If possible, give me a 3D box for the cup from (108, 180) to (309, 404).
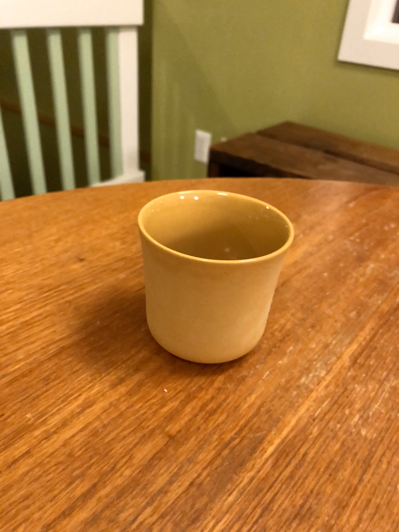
[{"bbox_3d":[0.006,0.008,0.237,0.077,0.073,0.074,3,32,-2],"label":"cup"}]
